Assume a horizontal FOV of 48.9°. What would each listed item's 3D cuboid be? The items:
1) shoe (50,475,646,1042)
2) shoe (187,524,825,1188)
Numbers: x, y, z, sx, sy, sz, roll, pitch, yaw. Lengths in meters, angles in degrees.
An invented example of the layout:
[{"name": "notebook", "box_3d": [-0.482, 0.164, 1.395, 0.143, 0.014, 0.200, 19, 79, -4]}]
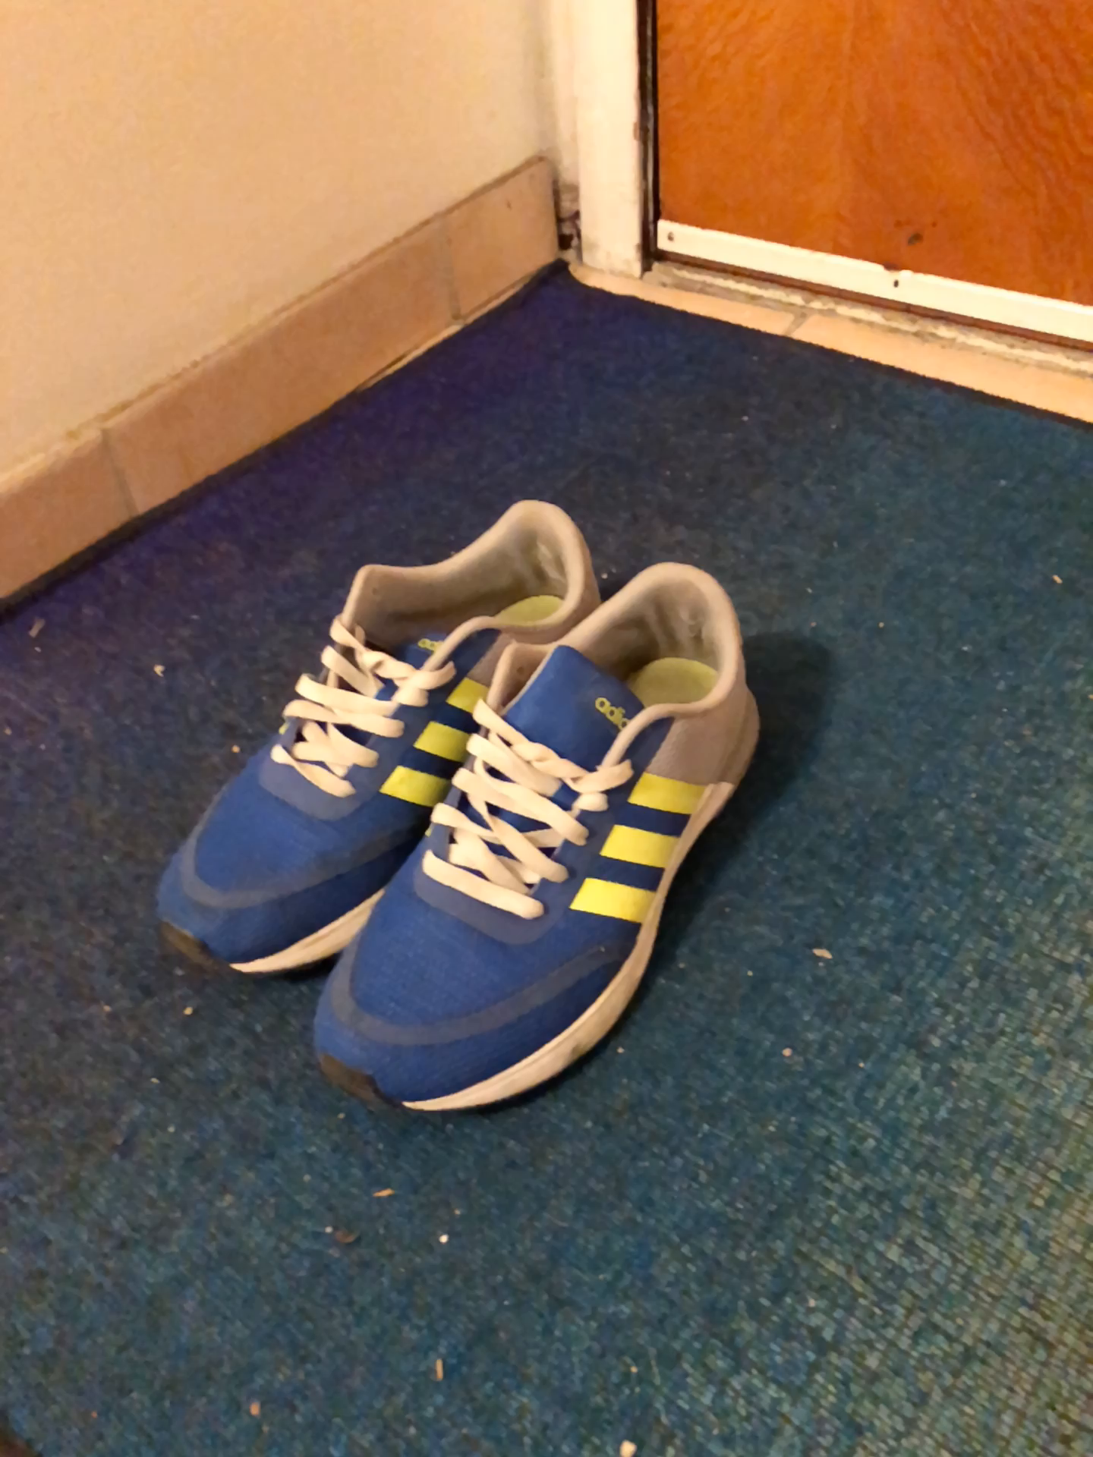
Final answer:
[{"name": "shoe", "box_3d": [-0.072, -0.002, 0.554, 0.110, 0.089, 0.261, 25, 51, 28]}, {"name": "shoe", "box_3d": [0.000, 0.033, 0.494, 0.110, 0.089, 0.261, 25, 51, 28]}]
